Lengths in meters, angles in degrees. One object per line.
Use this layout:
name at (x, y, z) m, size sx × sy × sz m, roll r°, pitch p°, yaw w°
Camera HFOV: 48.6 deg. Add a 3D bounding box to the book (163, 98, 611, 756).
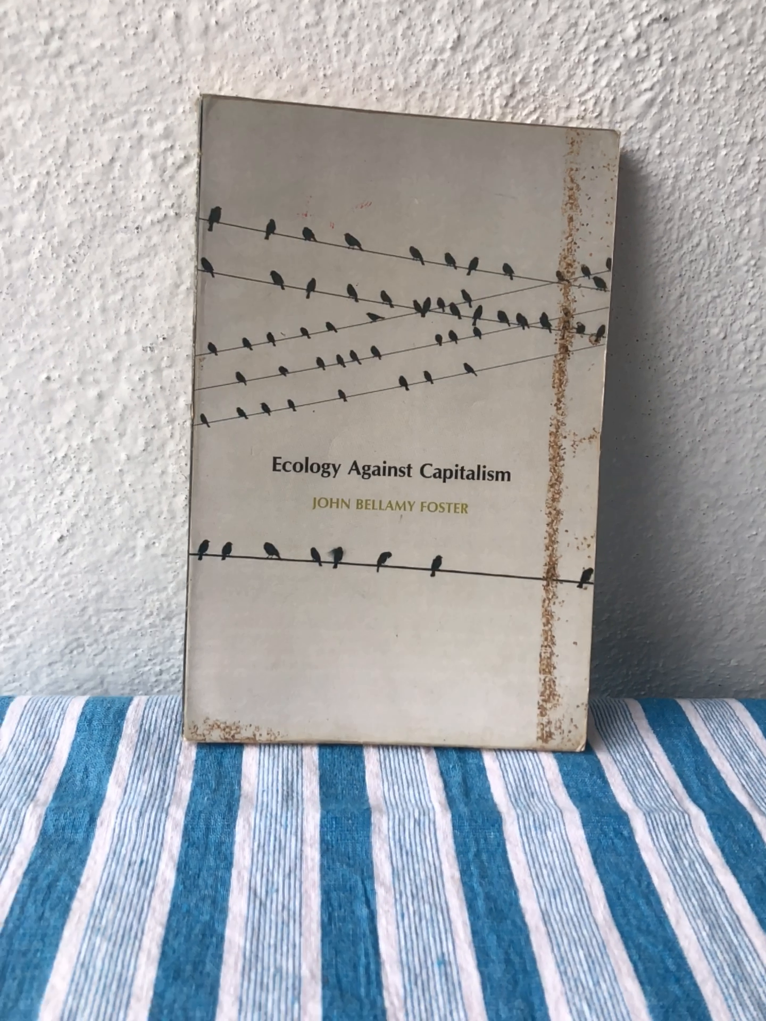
book at (0.001, -0.026, 0.292) m, size 0.140 × 0.210 × 0.030 m, roll 2°, pitch 1°, yaw -1°
